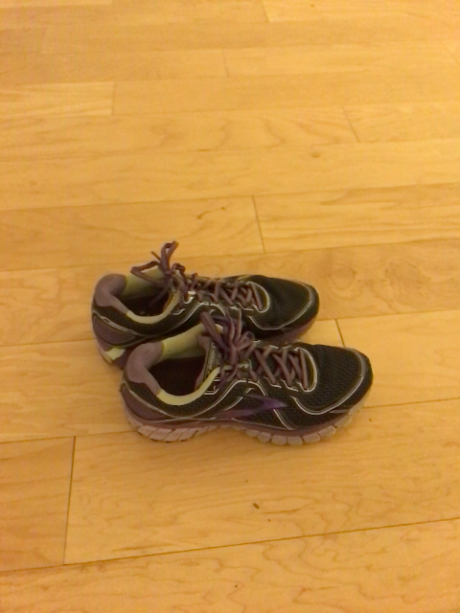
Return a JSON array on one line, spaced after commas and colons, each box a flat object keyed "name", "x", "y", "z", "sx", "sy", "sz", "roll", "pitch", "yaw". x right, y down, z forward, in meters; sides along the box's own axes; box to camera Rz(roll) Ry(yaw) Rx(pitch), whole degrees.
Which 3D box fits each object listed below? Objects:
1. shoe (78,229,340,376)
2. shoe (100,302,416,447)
[{"name": "shoe", "x": -0.027, "y": -0.007, "z": 0.582, "sx": 0.270, "sy": 0.079, "sz": 0.121, "roll": -6, "pitch": 52, "yaw": -6}, {"name": "shoe", "x": 0.024, "y": 0.068, "z": 0.513, "sx": 0.280, "sy": 0.079, "sz": 0.121, "roll": 0, "pitch": 51, "yaw": -1}]
